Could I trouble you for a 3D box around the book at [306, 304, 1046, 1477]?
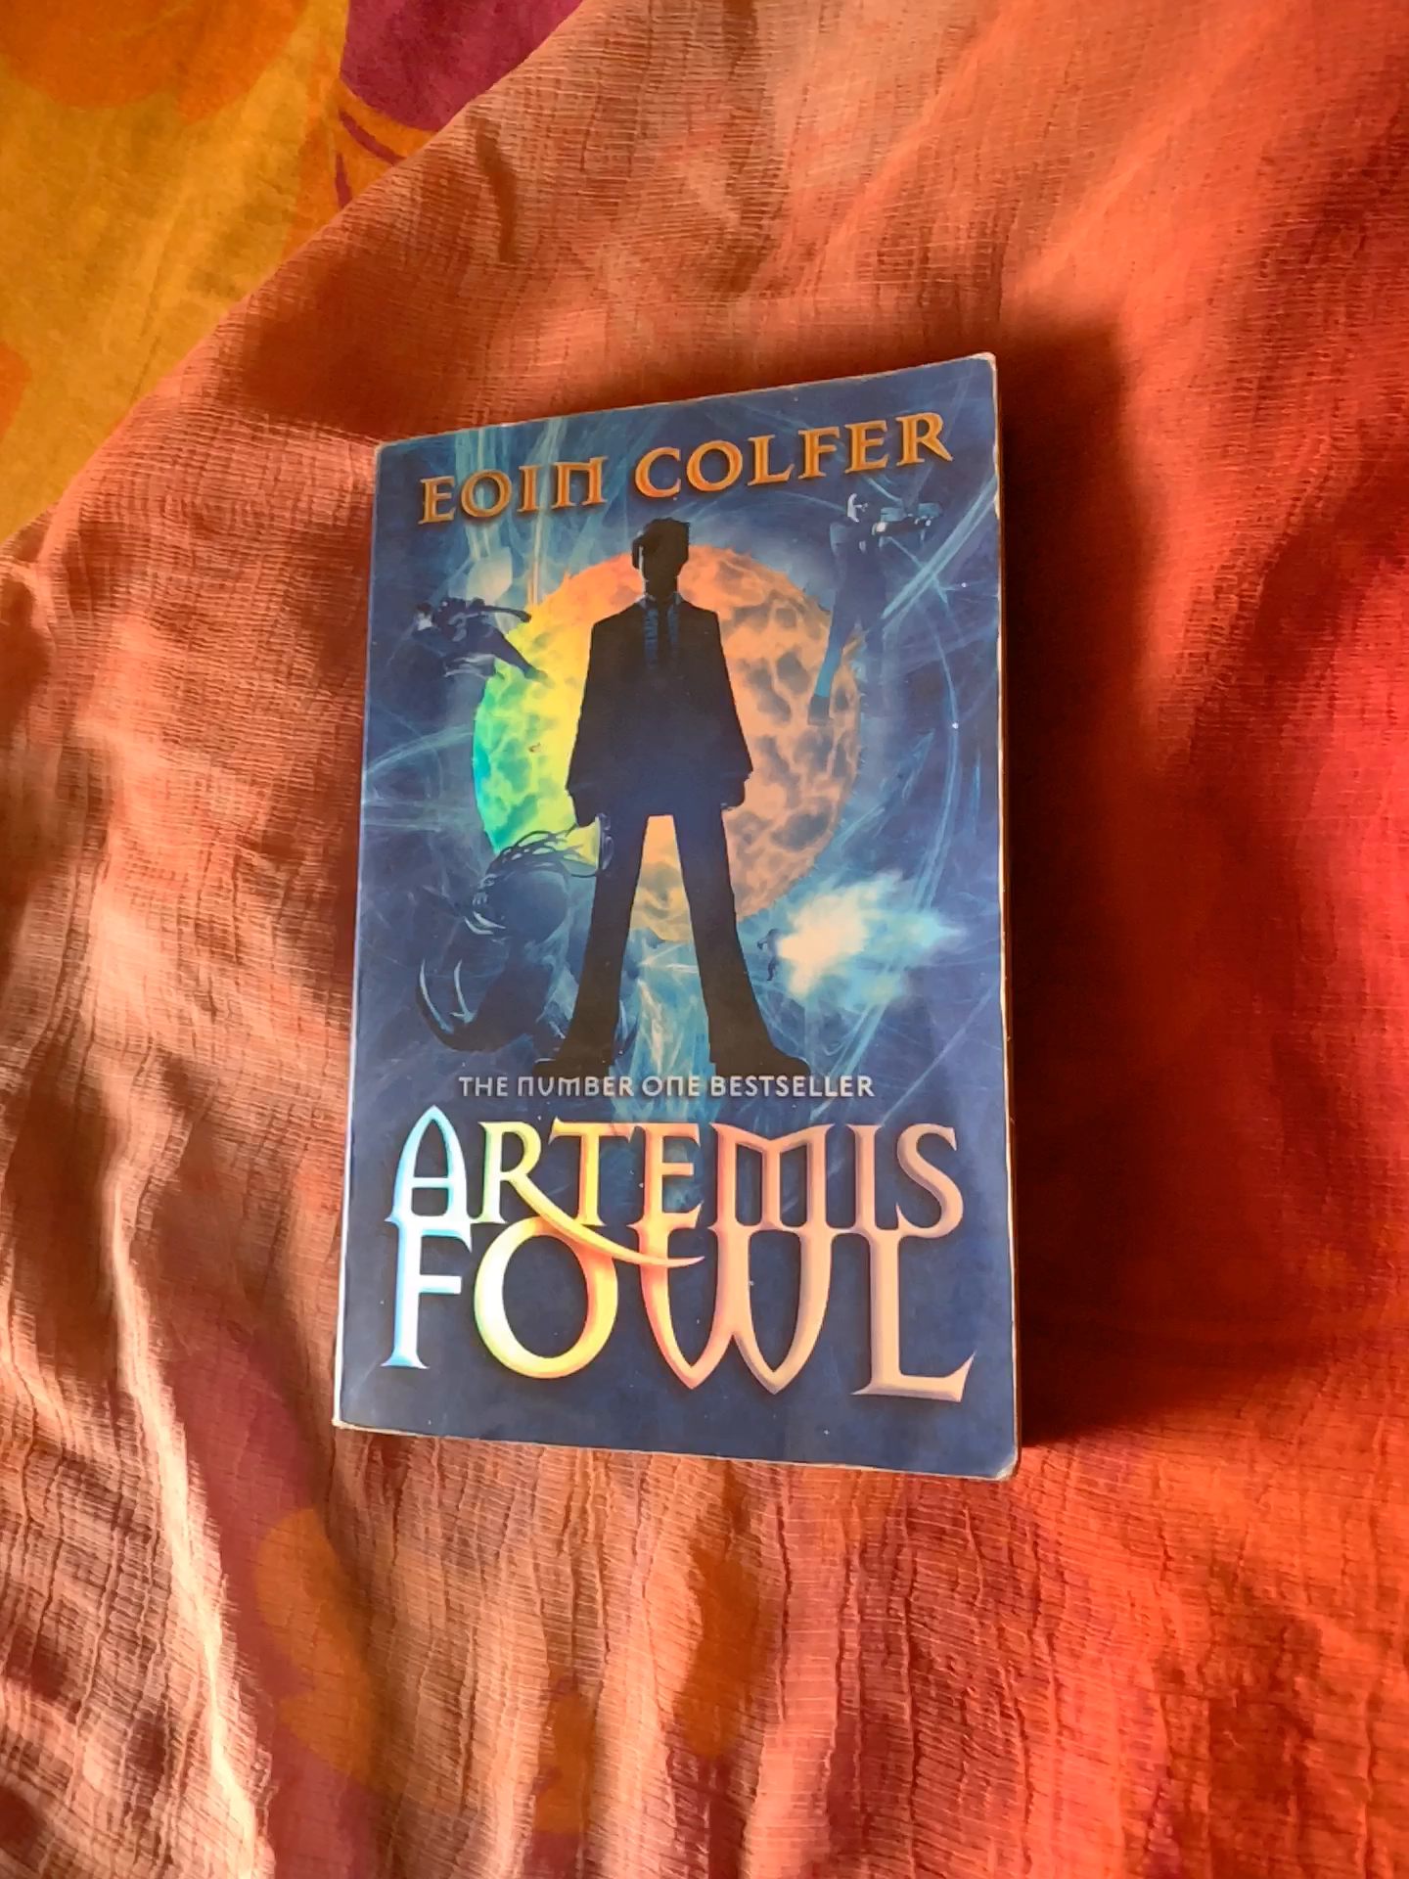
[{"bbox_3d":[-0.006,-0.009,0.270,0.130,0.030,0.190,-1,85,19],"label":"book"}]
